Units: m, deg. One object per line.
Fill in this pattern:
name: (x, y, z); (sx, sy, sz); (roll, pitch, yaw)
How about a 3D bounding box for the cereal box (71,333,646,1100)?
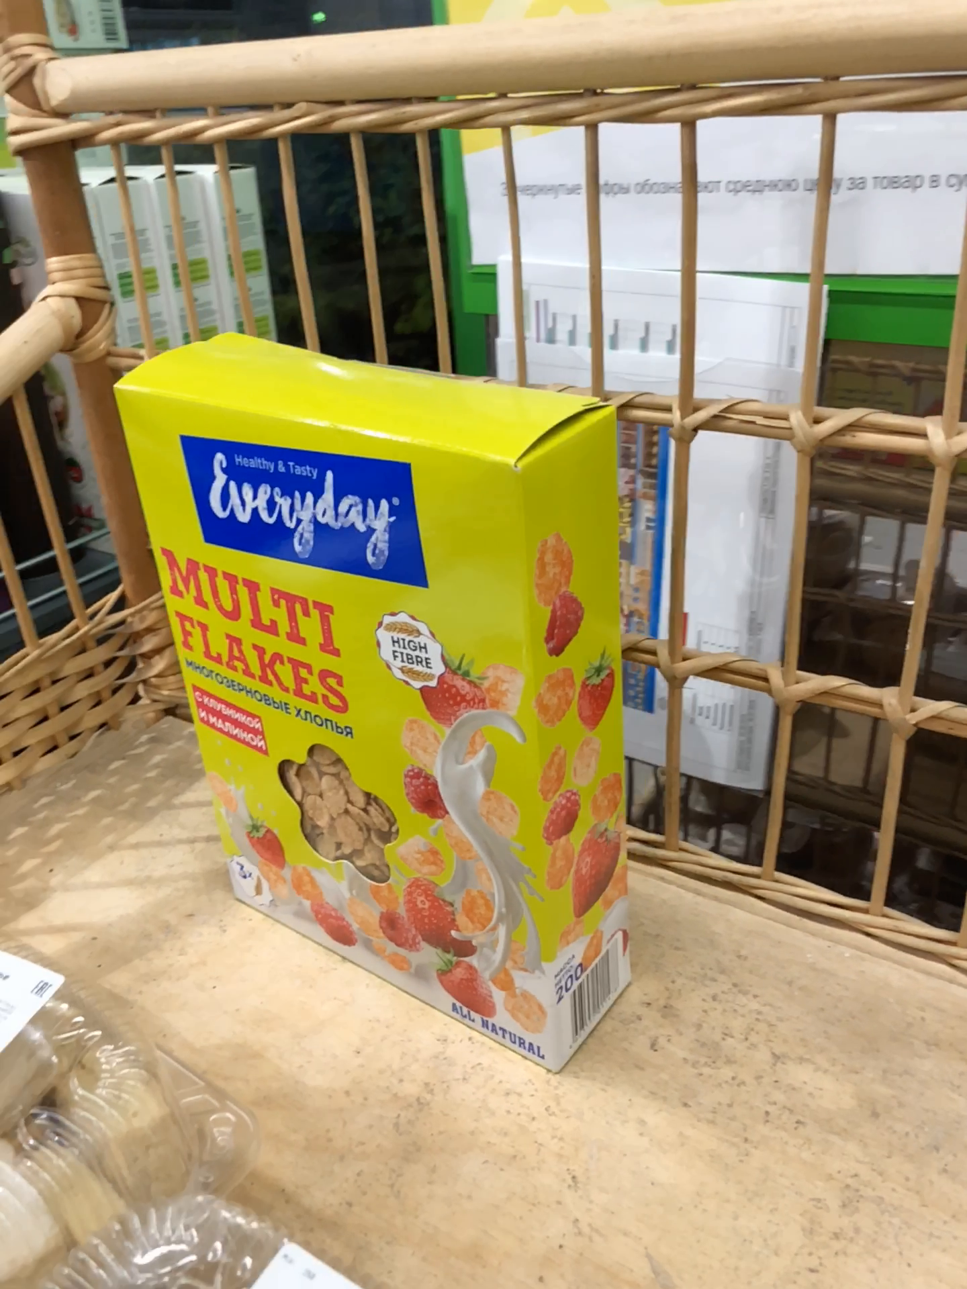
cereal box: (-0.037, 0.020, 0.378); (0.180, 0.229, 0.060); (17, 36, 34)
